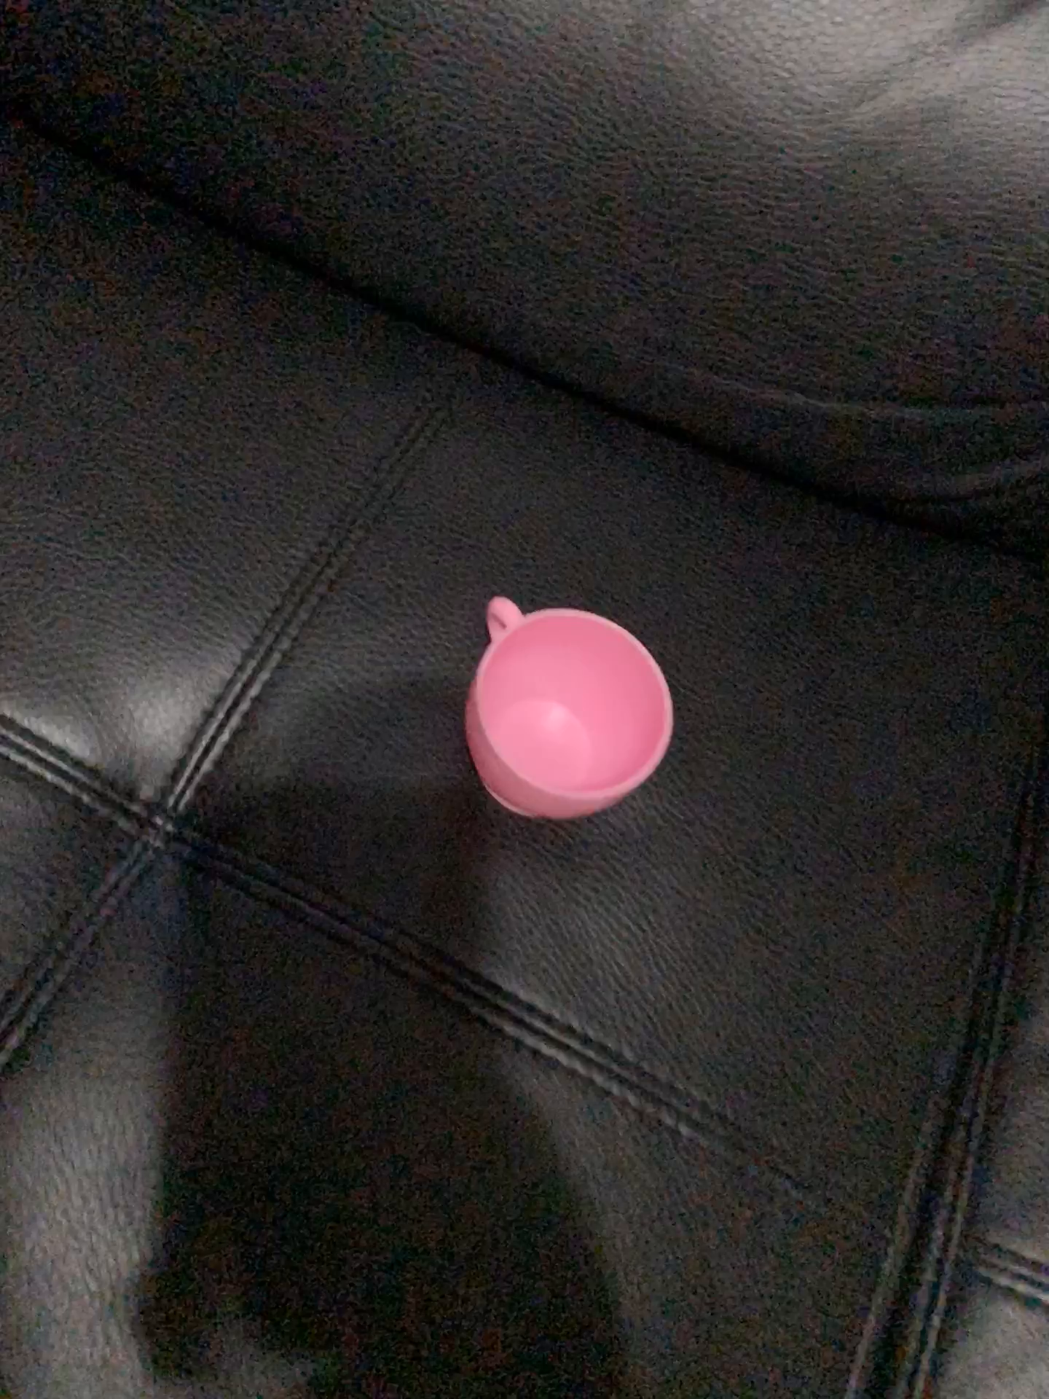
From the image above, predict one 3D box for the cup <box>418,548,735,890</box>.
[{"bbox_3d":[0.013,0.006,0.329,0.061,0.045,0.078,-20,71,-19],"label":"cup"}]
